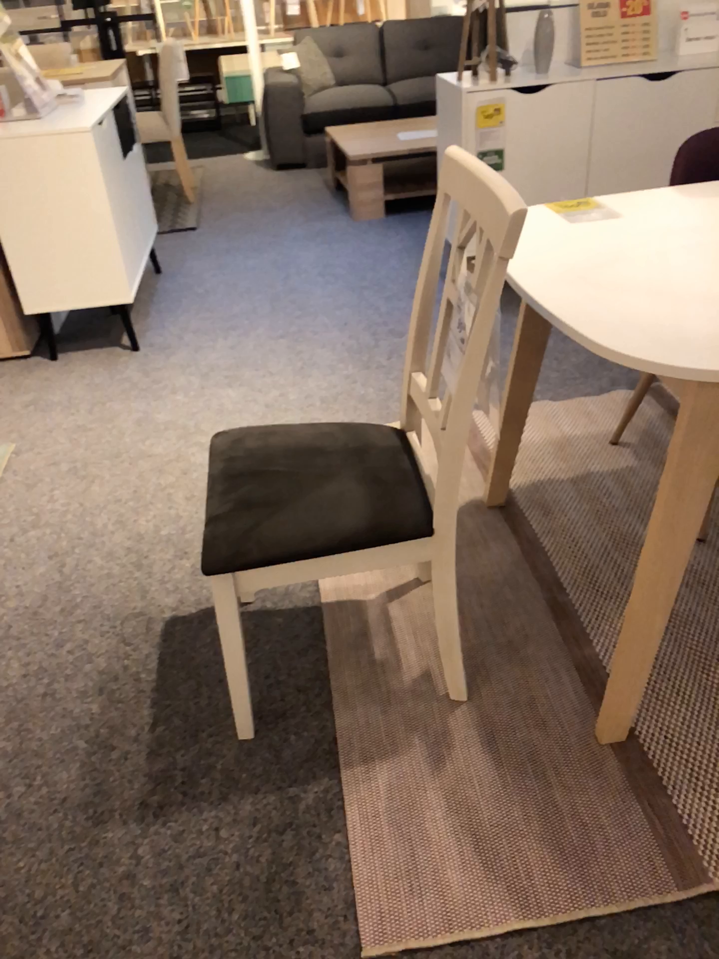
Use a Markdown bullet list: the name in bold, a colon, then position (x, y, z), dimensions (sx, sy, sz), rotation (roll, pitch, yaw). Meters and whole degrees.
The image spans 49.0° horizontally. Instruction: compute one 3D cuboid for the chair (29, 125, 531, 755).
- **chair**: position (-0.078, -0.066, 1.322), dimensions (0.560, 0.855, 0.513), rotation (-7, 33, -3)
